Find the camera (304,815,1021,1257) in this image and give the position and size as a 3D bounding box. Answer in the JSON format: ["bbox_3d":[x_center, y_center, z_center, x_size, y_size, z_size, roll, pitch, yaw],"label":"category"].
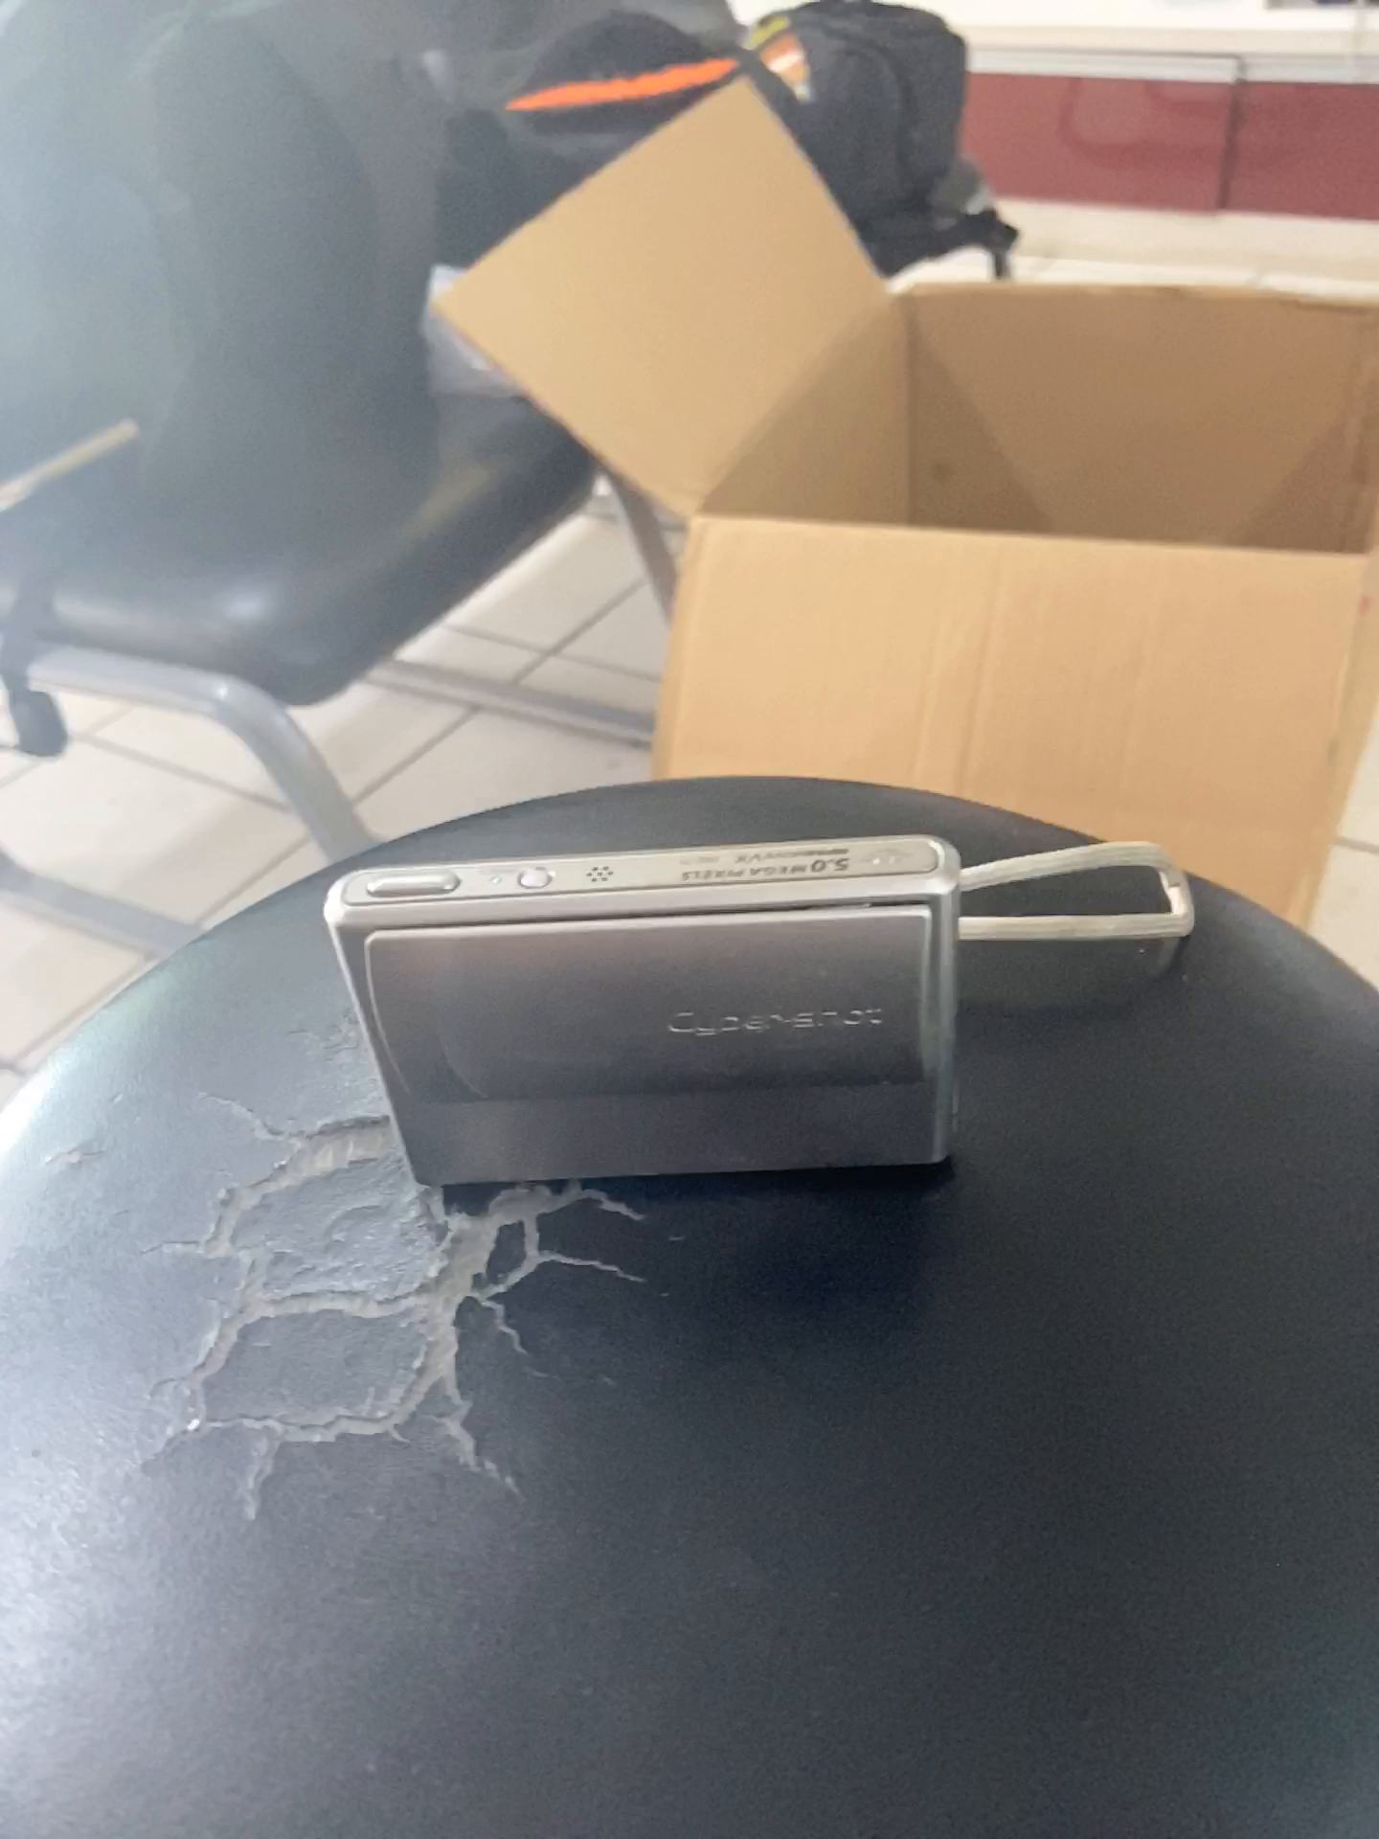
[{"bbox_3d":[-0.002,0.020,0.229,0.100,0.060,0.030,-4,39,3],"label":"camera"}]
